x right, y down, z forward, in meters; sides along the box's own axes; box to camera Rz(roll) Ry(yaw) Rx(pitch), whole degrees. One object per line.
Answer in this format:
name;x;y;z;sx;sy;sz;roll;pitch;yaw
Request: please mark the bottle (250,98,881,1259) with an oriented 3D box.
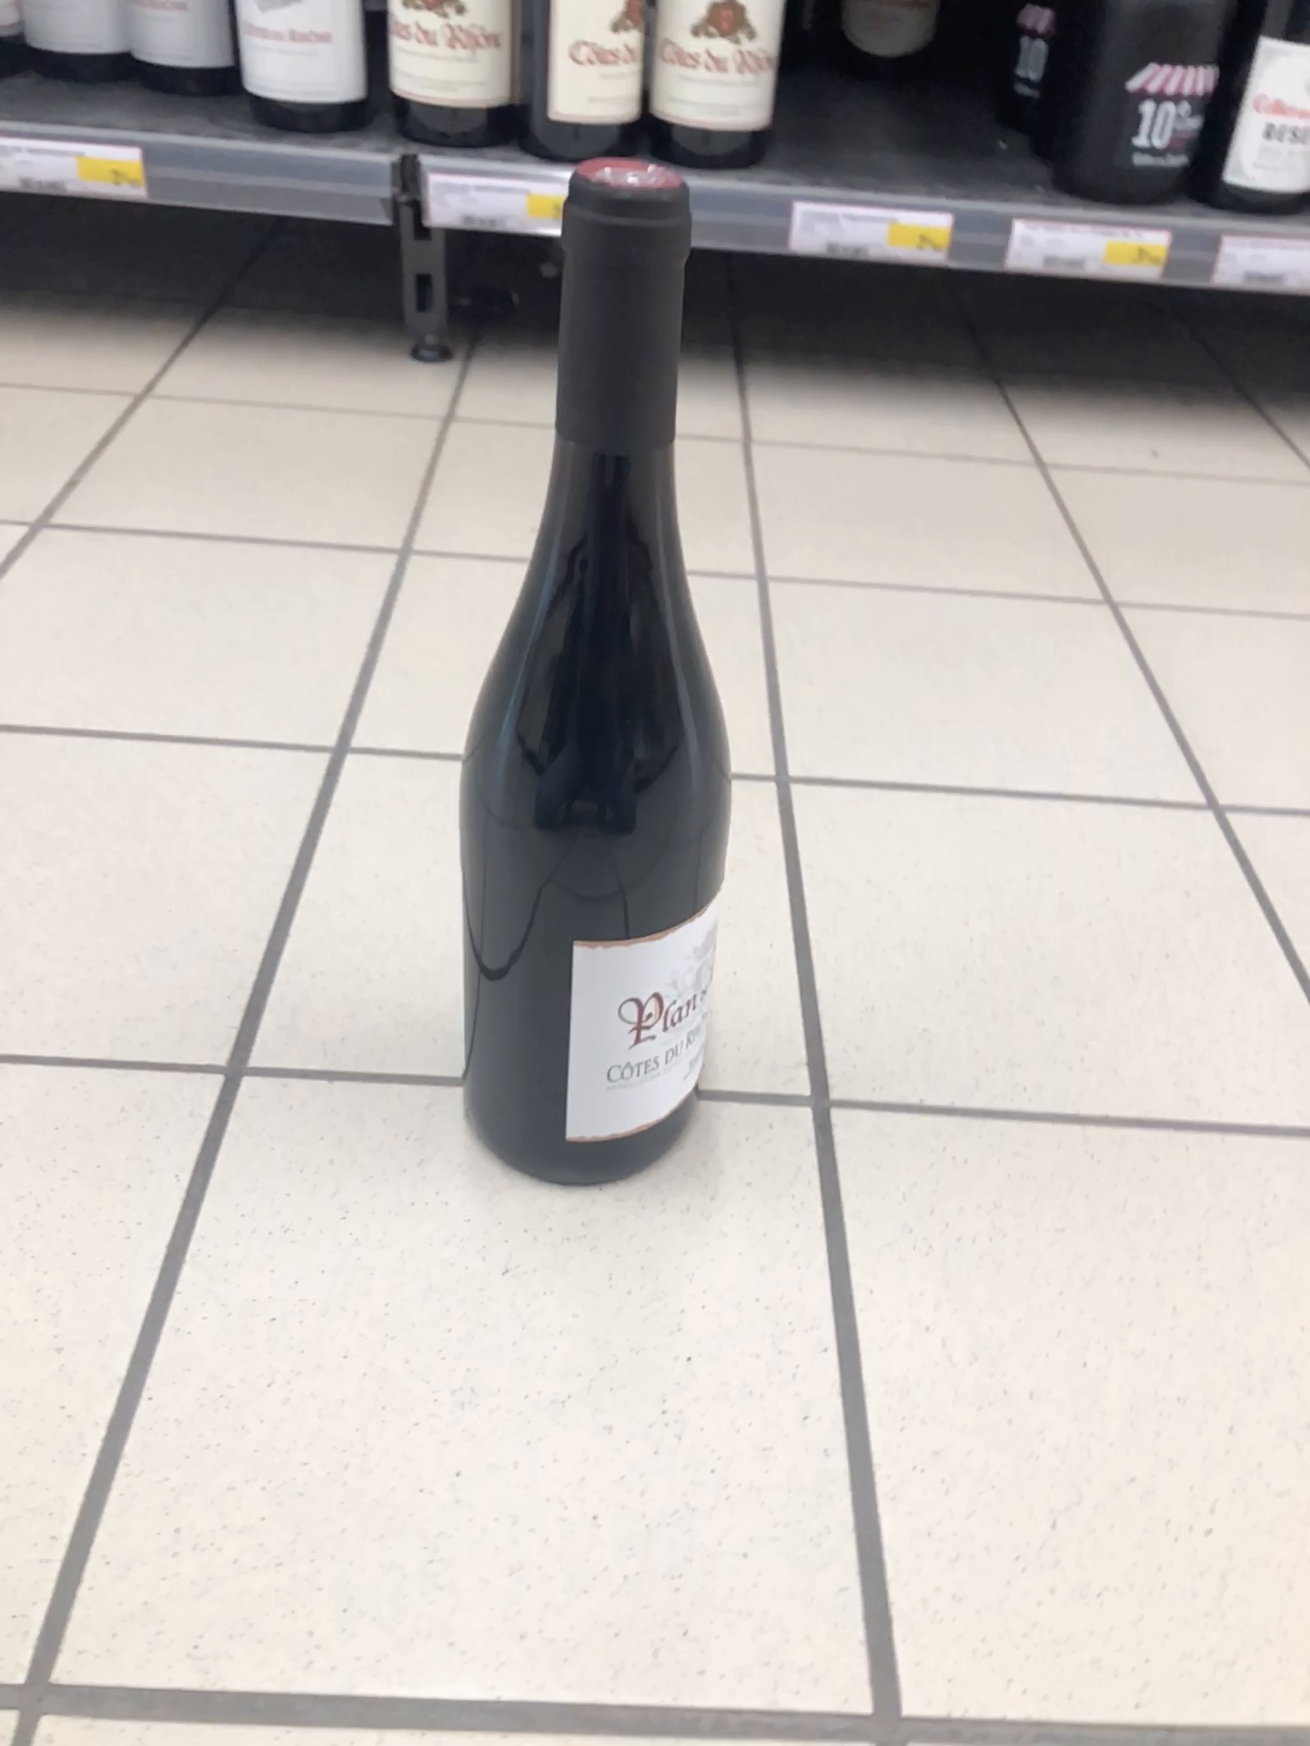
bottle;-0.026;-0.041;0.402;0.100;0.288;0.101;3;37;-3
